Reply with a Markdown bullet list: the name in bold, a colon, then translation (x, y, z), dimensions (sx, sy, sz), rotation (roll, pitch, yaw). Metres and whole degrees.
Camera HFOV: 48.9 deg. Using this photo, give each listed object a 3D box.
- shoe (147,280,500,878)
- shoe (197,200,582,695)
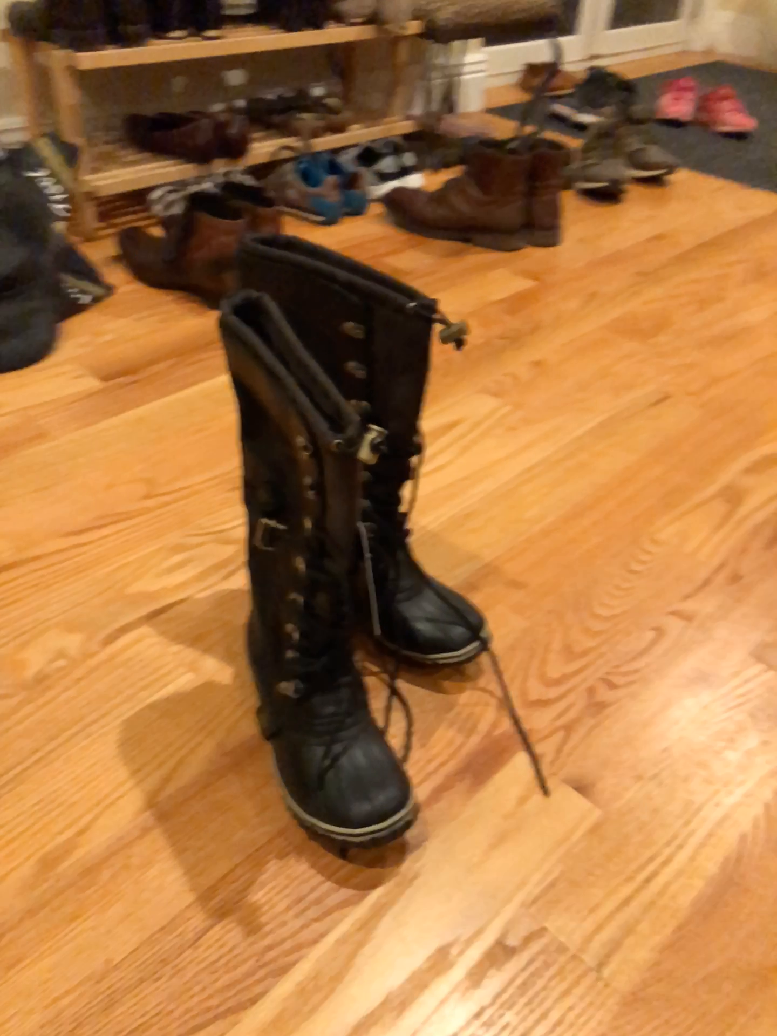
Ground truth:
- **shoe**: translation (-0.061, 0.037, 0.597), dimensions (0.100, 0.308, 0.261), rotation (-17, 42, -26)
- **shoe**: translation (-0.013, -0.054, 0.704), dimensions (0.260, 0.328, 0.100), rotation (24, 41, 23)
